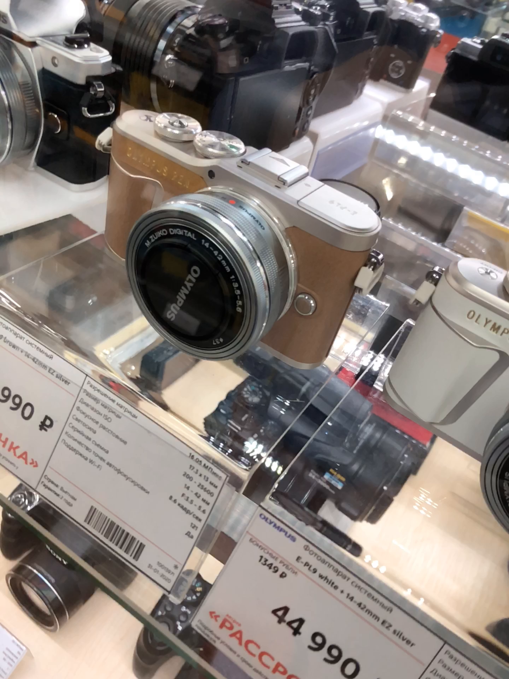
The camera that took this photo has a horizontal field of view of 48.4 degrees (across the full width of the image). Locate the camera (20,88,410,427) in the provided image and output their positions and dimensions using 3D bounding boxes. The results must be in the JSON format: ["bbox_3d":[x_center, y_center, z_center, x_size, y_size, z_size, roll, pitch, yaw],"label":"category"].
[{"bbox_3d":[-0.019,-0.037,0.210,0.122,0.060,0.060,31,41,17],"label":"camera"}]

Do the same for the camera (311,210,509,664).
[{"bbox_3d":[0.091,0.021,0.173,0.122,0.060,0.060,31,41,17],"label":"camera"}]
